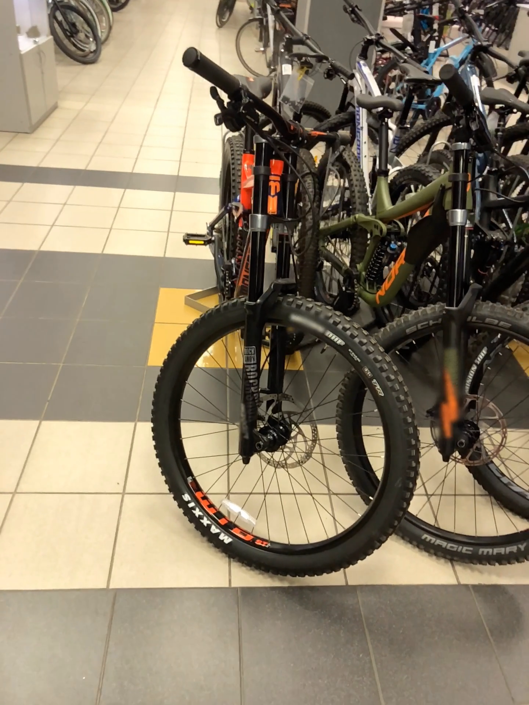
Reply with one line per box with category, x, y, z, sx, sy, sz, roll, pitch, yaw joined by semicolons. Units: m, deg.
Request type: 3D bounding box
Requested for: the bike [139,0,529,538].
bike;0.140;-0.436;1.831;0.801;1.109;1.705;-4;33;-15
